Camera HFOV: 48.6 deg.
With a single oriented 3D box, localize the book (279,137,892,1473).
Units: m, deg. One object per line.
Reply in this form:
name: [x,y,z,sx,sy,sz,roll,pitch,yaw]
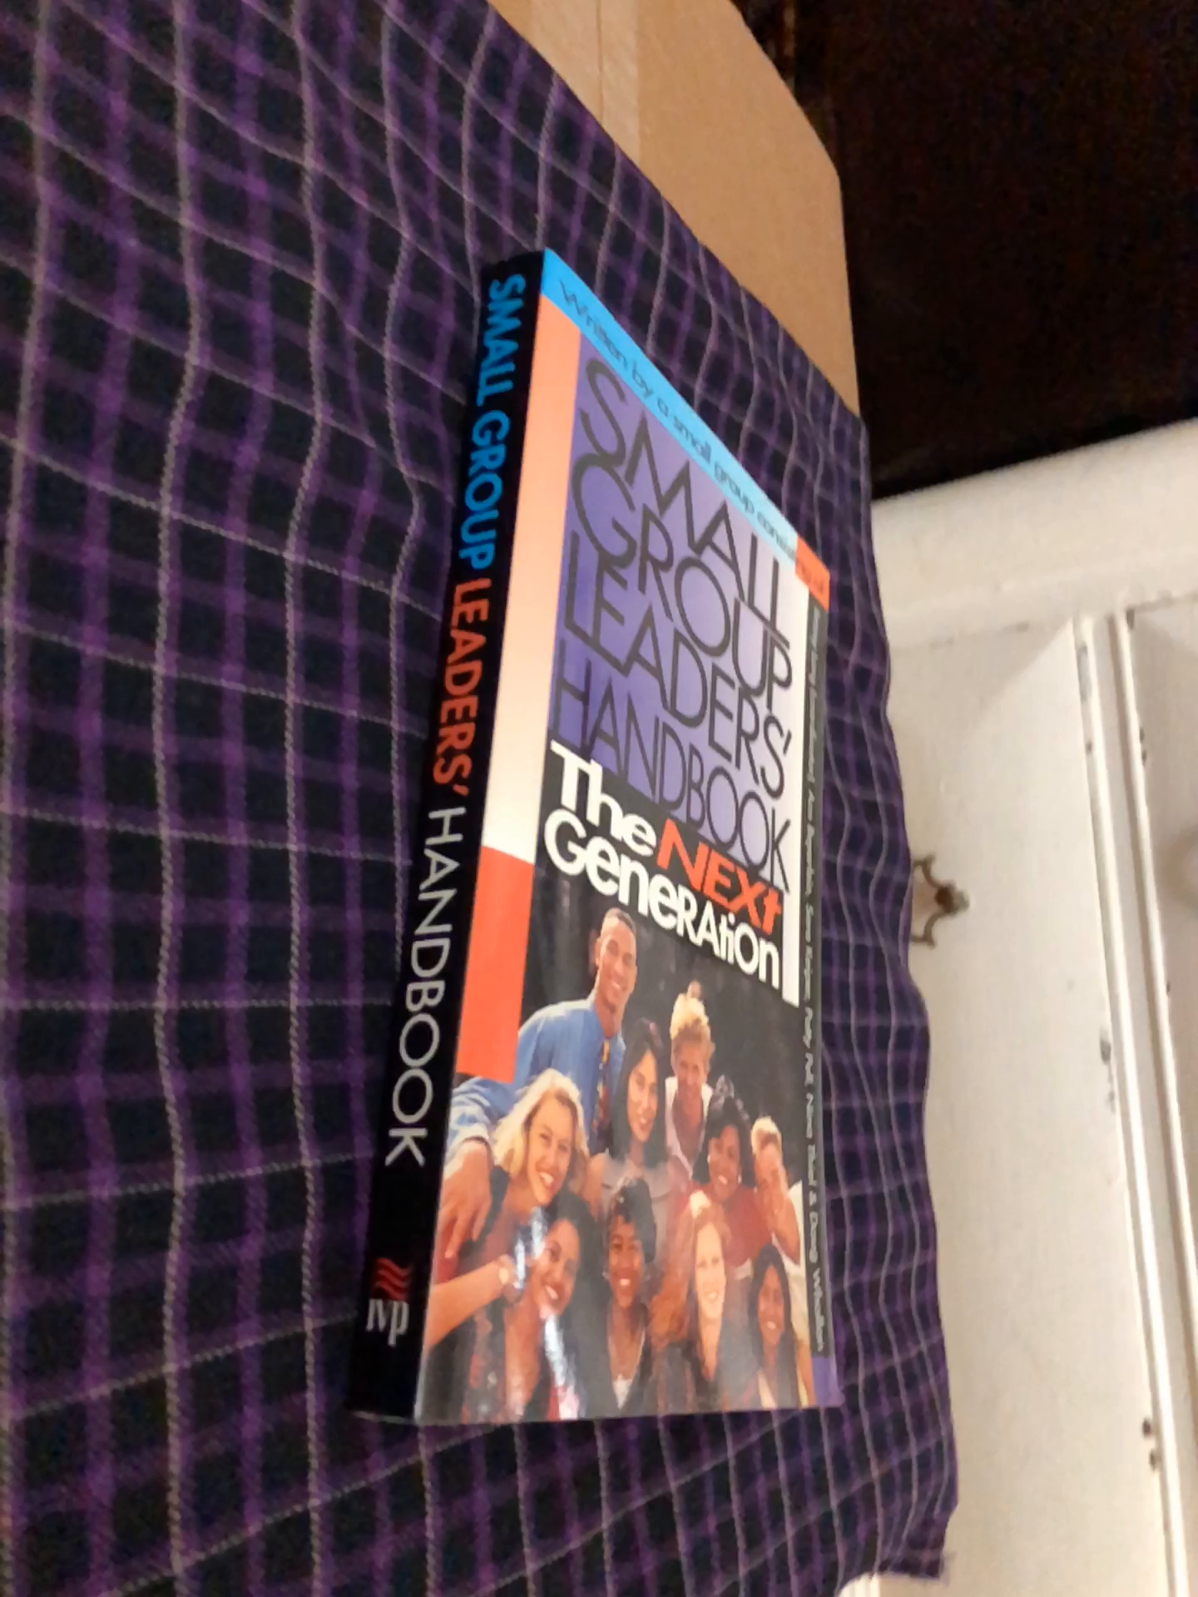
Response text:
book: [0.017,0.008,0.270,0.151,0.030,0.220,32,56,-51]
